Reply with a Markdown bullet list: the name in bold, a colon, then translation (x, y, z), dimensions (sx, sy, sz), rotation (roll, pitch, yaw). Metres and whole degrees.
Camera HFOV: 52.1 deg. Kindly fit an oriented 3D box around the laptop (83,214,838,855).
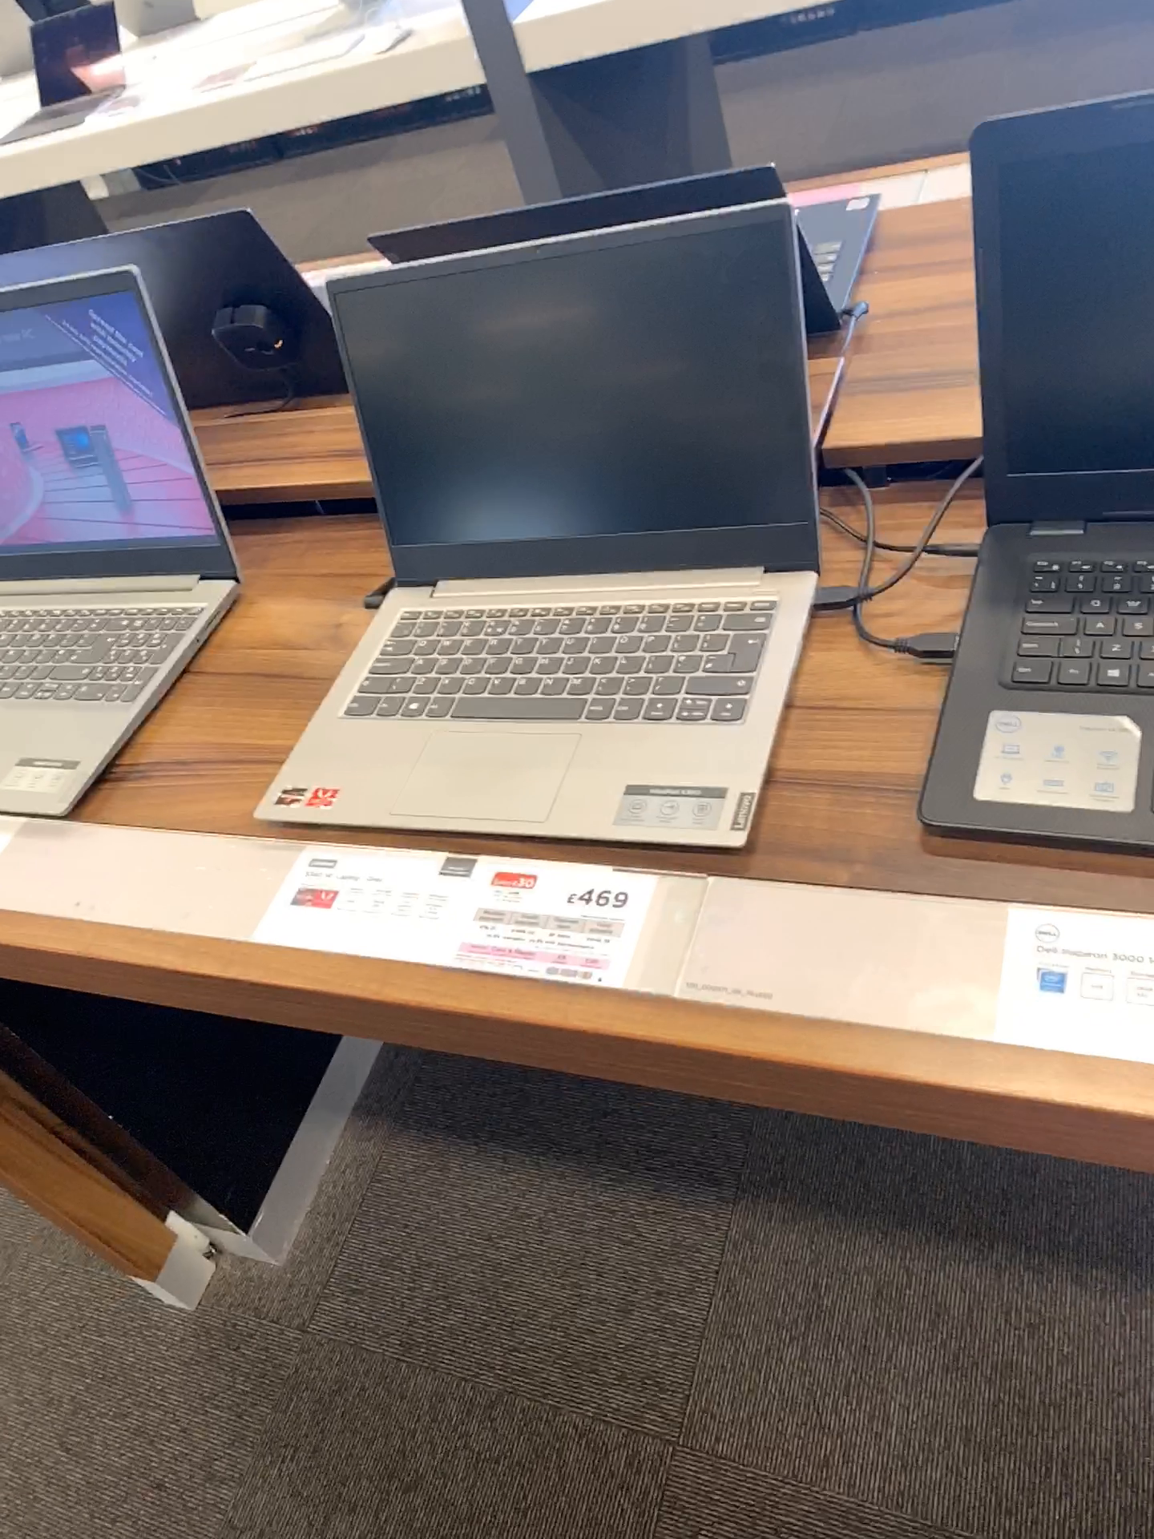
- **laptop**: translation (-0.041, -0.140, 0.700), dimensions (0.316, 0.199, 0.296), rotation (2, 48, 25)
